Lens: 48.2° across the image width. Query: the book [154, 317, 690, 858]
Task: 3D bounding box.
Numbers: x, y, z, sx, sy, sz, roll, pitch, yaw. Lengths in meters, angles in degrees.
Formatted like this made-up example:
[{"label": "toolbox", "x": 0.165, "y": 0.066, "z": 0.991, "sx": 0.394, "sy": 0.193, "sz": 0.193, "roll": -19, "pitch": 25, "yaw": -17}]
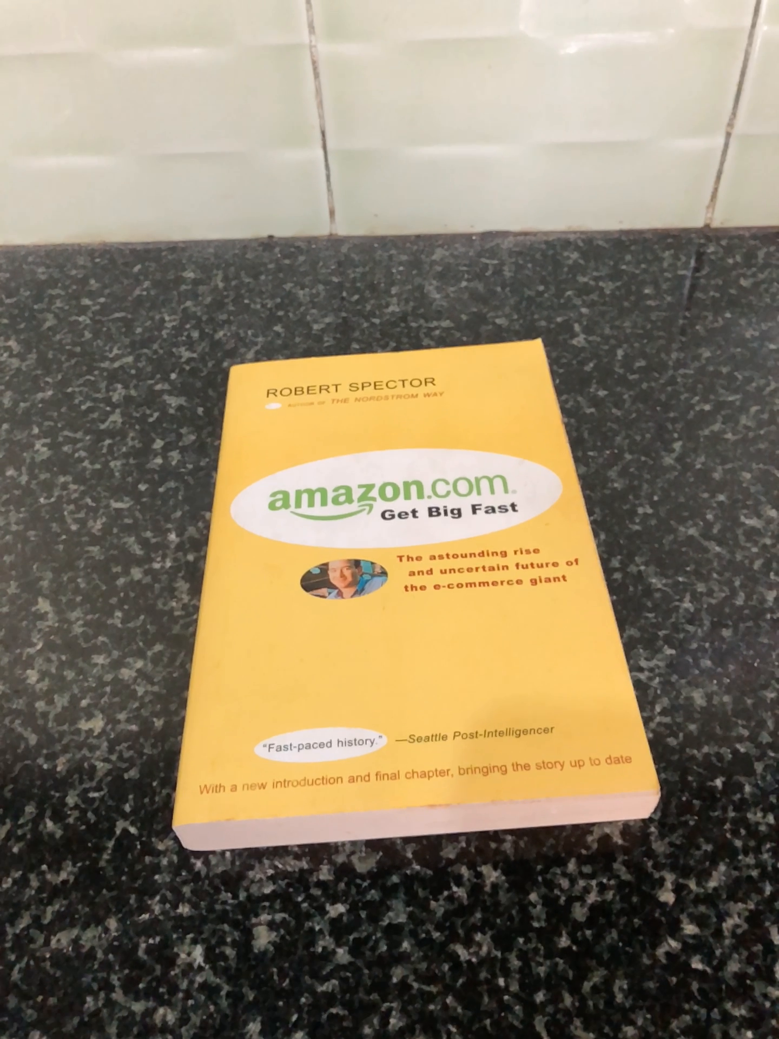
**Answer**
[{"label": "book", "x": 0.005, "y": 0.006, "z": 0.309, "sx": 0.140, "sy": 0.030, "sz": 0.211, "roll": -3, "pitch": 47, "yaw": 1}]
